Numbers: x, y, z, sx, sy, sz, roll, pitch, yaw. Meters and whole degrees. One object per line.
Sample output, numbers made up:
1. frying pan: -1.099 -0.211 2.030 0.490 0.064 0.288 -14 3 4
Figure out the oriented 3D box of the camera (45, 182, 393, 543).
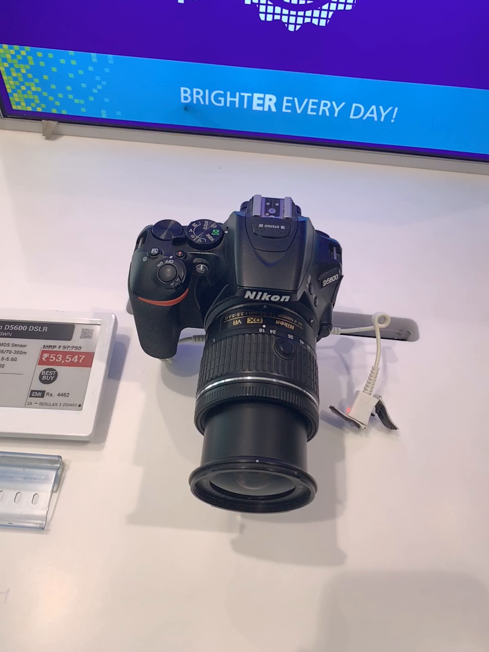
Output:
1. camera: -0.007 0.016 0.251 0.116 0.100 0.141 4 52 0
